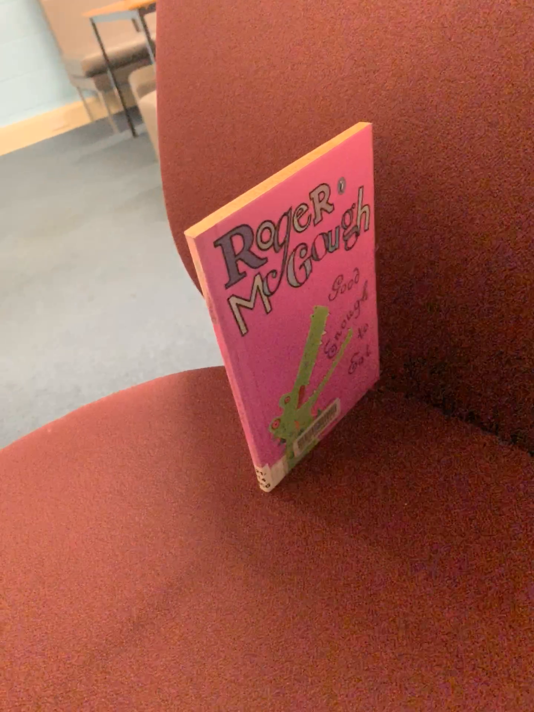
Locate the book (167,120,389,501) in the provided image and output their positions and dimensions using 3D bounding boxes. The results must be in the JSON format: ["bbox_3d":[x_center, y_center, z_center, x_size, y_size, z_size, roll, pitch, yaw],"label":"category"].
[{"bbox_3d":[0.024,-0.020,0.331,0.017,0.189,0.141,28,53,37],"label":"book"}]
